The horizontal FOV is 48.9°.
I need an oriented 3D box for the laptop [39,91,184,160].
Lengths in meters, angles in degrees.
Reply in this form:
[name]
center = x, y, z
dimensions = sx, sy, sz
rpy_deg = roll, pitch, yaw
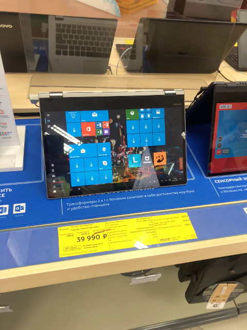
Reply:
[laptop]
center = -0.053, -0.097, 0.788
dimensions = 0.336, 0.150, 0.211
rpy_deg = -4, 16, -12
